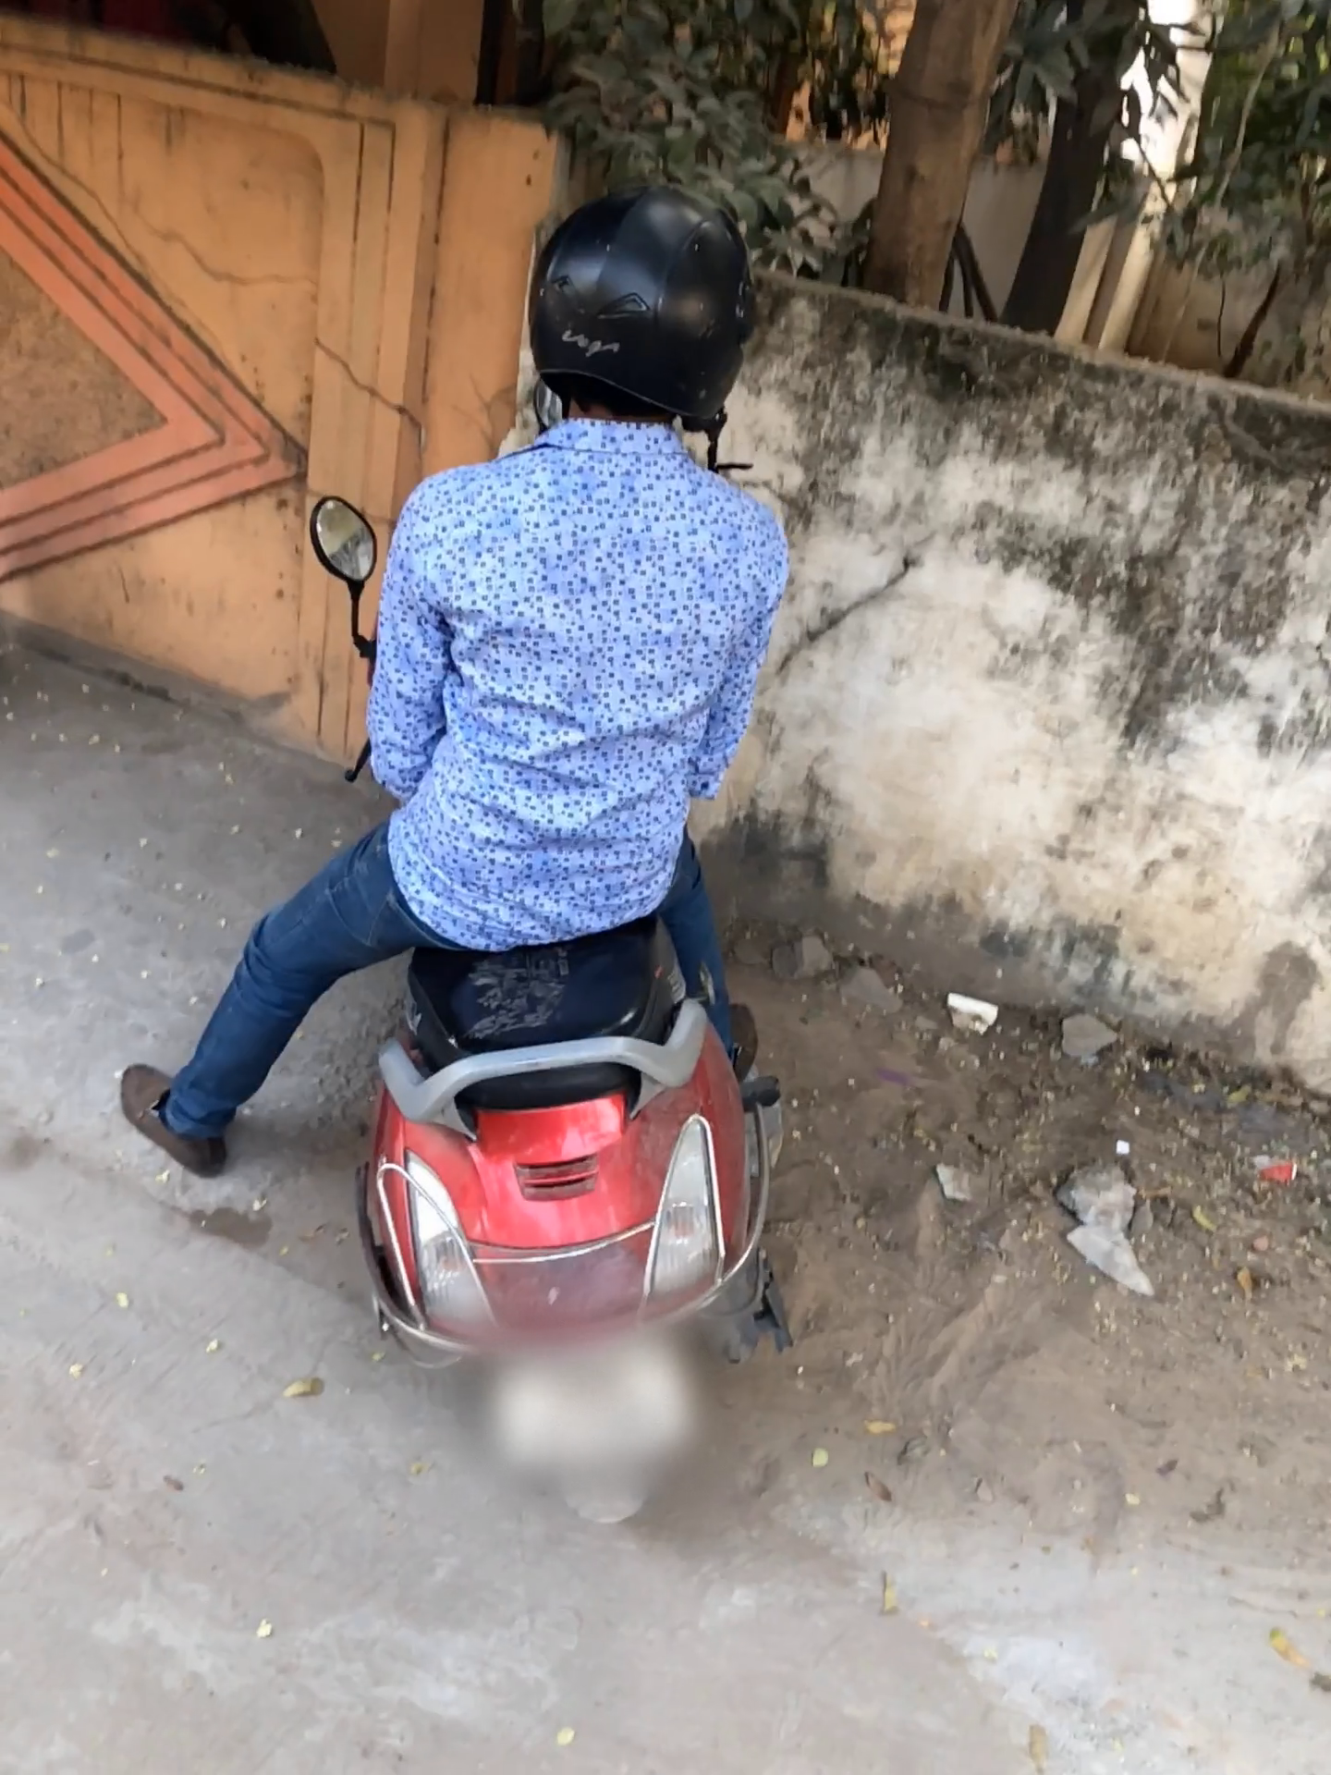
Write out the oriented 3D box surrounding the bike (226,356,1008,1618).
[{"bbox_3d":[-0.286,0.032,2.276,0.723,1.166,1.507,1,32,-17],"label":"bike"}]
